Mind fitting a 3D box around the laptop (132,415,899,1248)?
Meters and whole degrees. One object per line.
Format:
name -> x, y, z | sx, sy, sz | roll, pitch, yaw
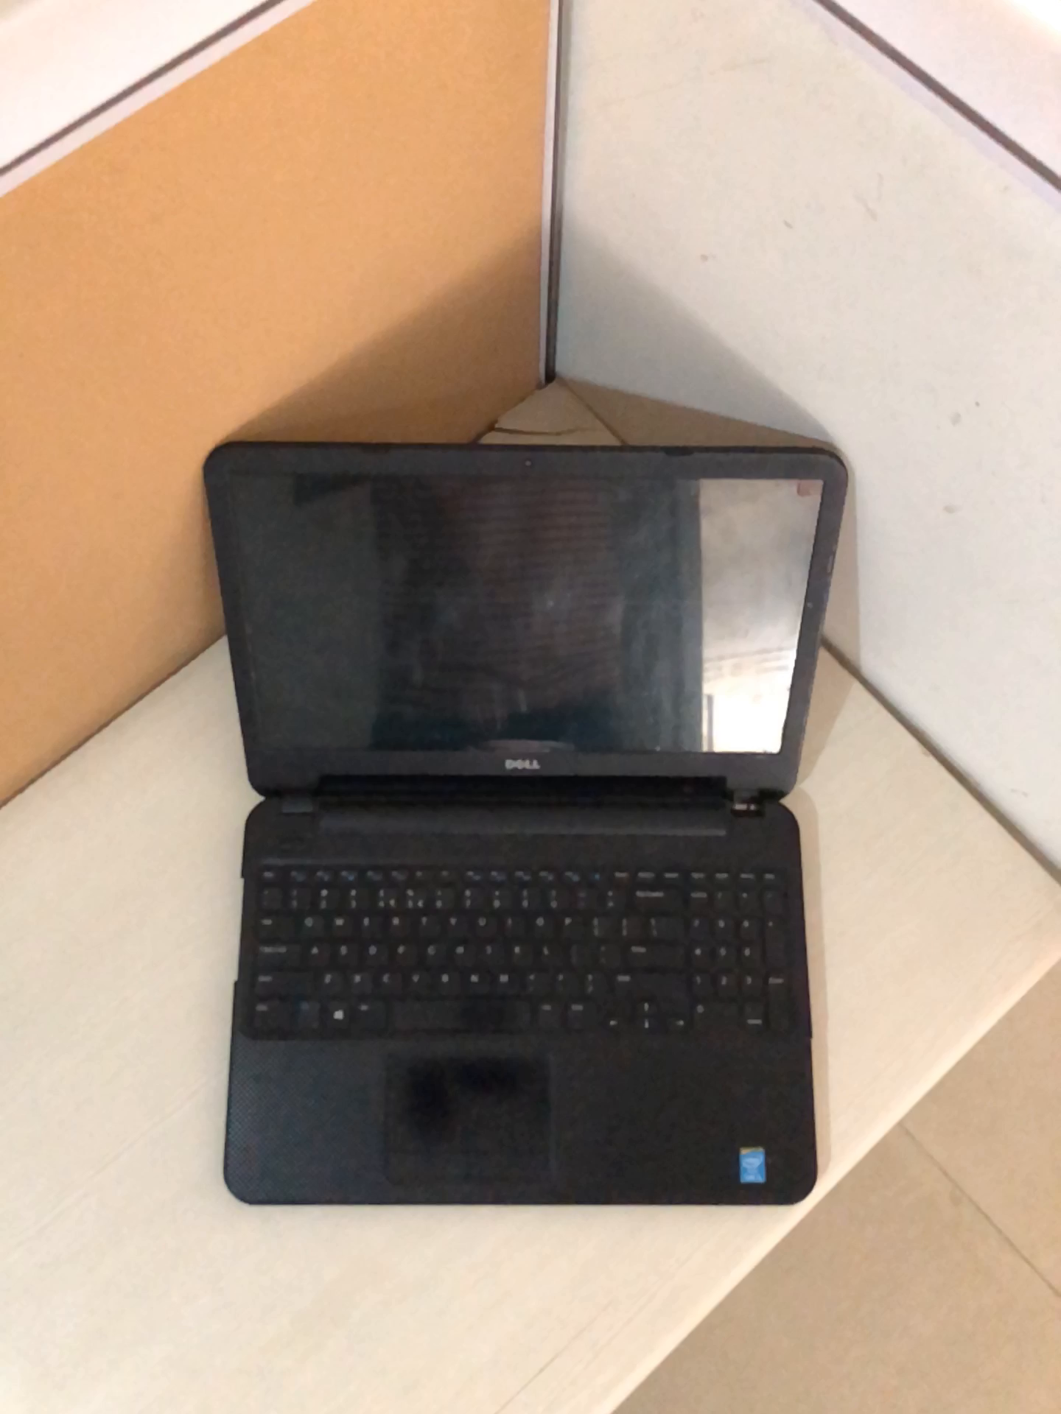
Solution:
laptop -> -0.006, 0.070, 0.673 | 0.352, 0.175, 0.414 | 1, 75, 0
